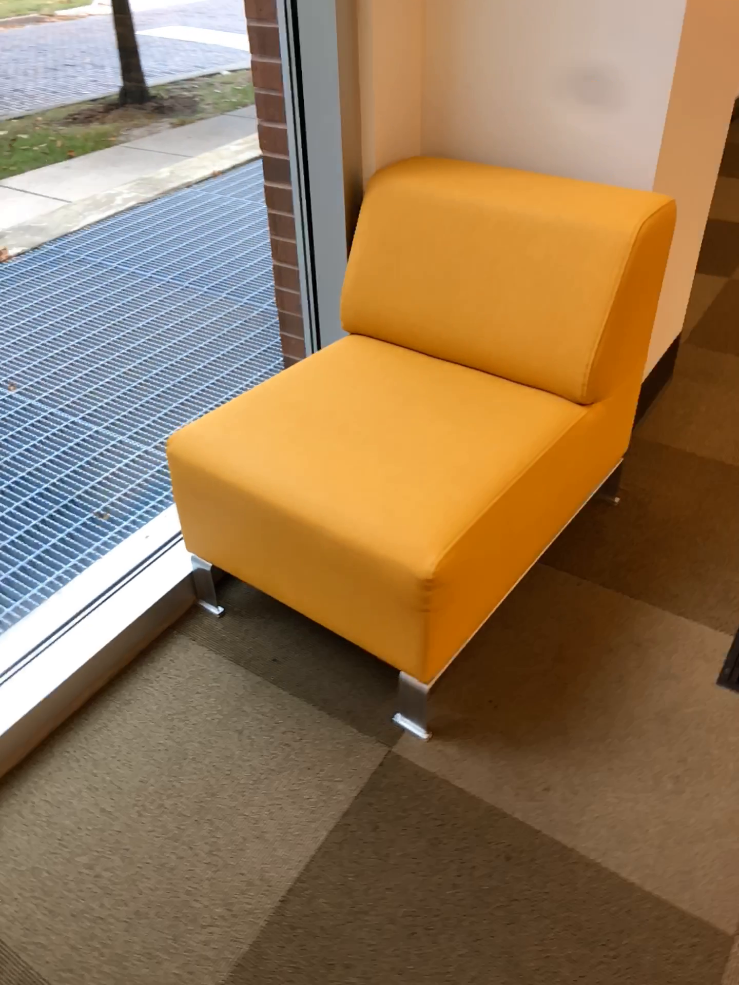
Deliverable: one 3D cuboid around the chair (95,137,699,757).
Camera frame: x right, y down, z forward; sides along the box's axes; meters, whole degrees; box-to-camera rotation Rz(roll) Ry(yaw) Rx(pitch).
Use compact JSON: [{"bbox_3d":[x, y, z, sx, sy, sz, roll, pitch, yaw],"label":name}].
[{"bbox_3d":[0.101,-0.170,1.628,0.663,0.759,0.874,23,44,29],"label":"chair"}]
